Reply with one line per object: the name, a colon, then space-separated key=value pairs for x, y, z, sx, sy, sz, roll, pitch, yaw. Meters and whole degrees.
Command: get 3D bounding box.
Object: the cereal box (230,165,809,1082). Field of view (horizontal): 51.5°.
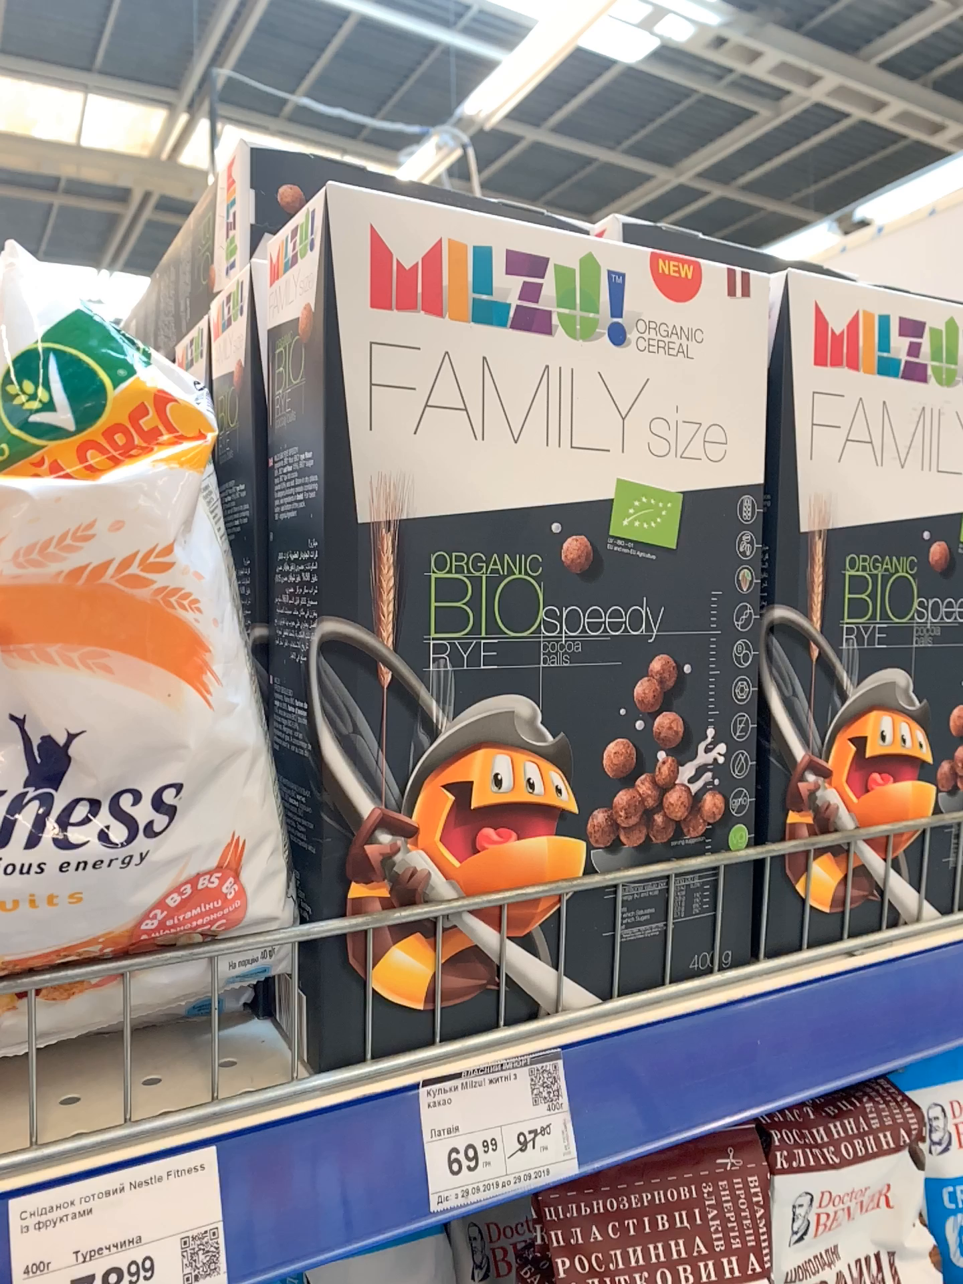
cereal box: x=0.017 y=-0.007 z=0.378 sx=0.200 sy=0.270 sz=0.080 roll=-1 pitch=4 yaw=-30
